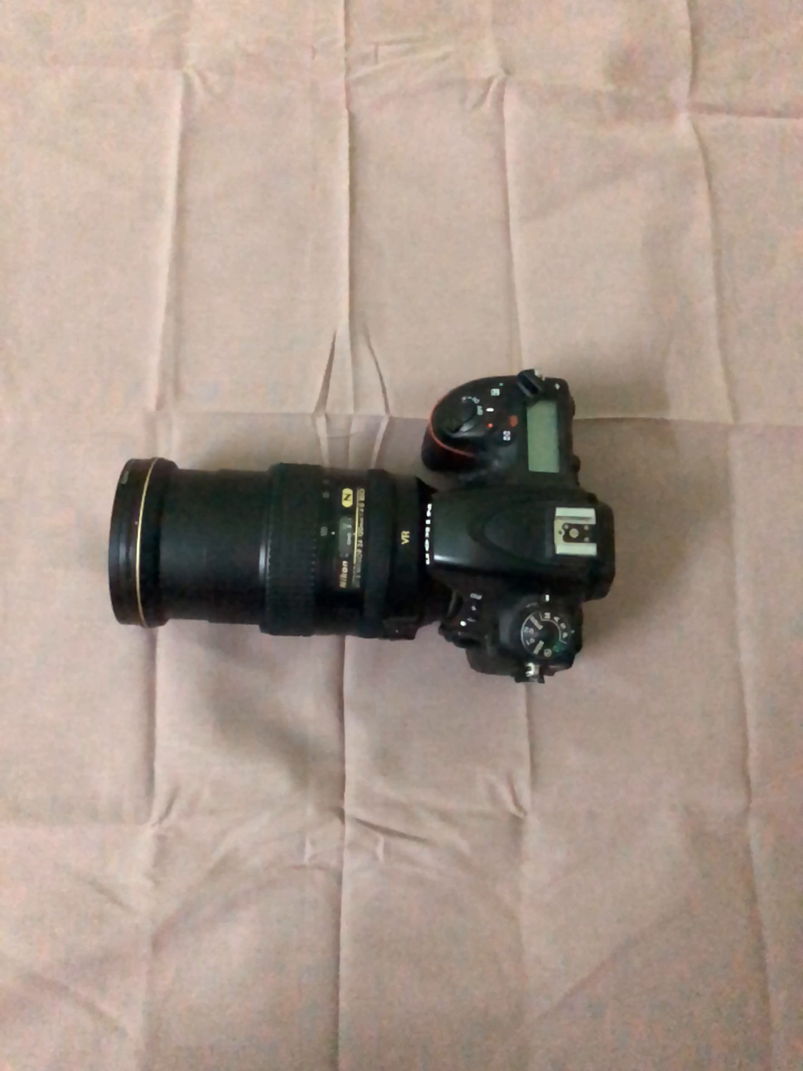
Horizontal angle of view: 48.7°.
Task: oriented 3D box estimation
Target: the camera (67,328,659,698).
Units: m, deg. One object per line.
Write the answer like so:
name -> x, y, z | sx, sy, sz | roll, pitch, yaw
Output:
camera -> -0.015, 0.000, 0.414 | 0.231, 0.110, 0.139 | 3, 77, -6
